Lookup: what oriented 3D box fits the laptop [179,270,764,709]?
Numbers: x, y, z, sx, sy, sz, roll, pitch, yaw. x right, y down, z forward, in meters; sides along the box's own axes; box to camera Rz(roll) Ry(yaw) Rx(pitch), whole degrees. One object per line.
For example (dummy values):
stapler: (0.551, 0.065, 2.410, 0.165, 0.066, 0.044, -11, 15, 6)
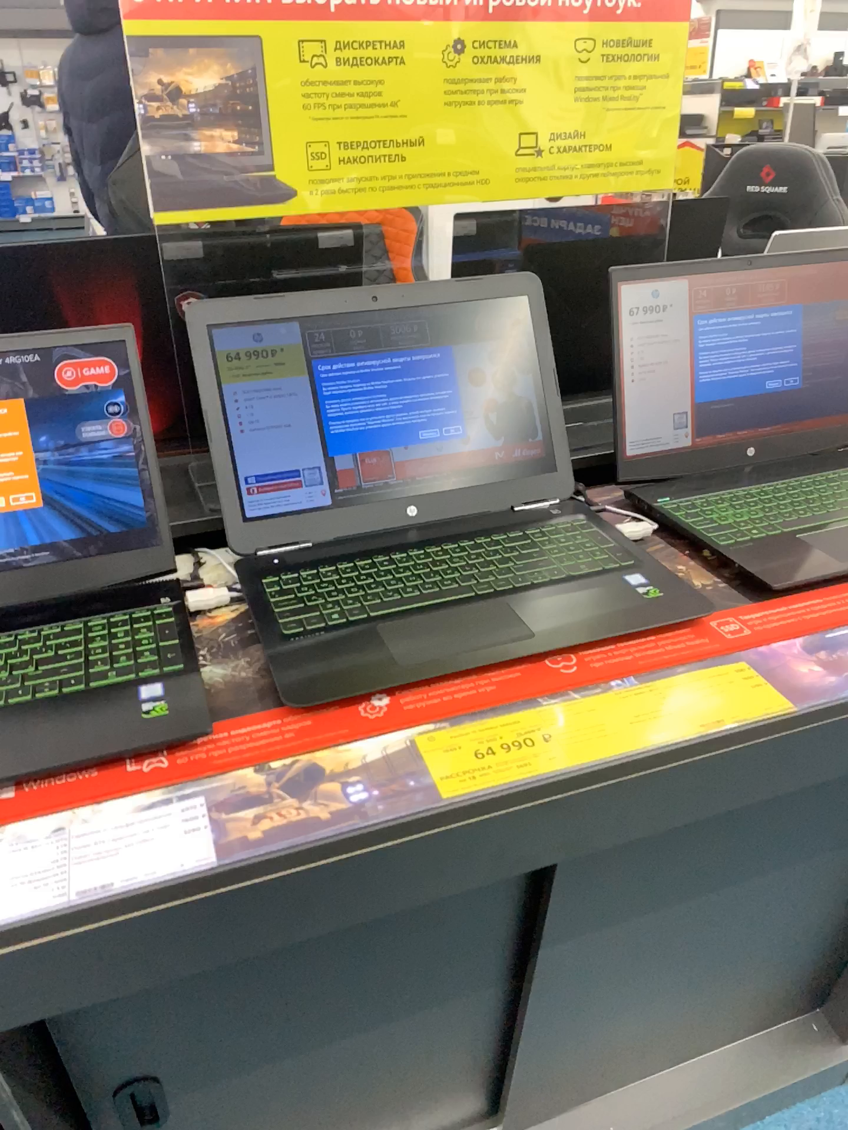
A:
laptop: (0.011, -0.112, 0.796, 0.384, 0.223, 0.380, -10, 30, -18)
